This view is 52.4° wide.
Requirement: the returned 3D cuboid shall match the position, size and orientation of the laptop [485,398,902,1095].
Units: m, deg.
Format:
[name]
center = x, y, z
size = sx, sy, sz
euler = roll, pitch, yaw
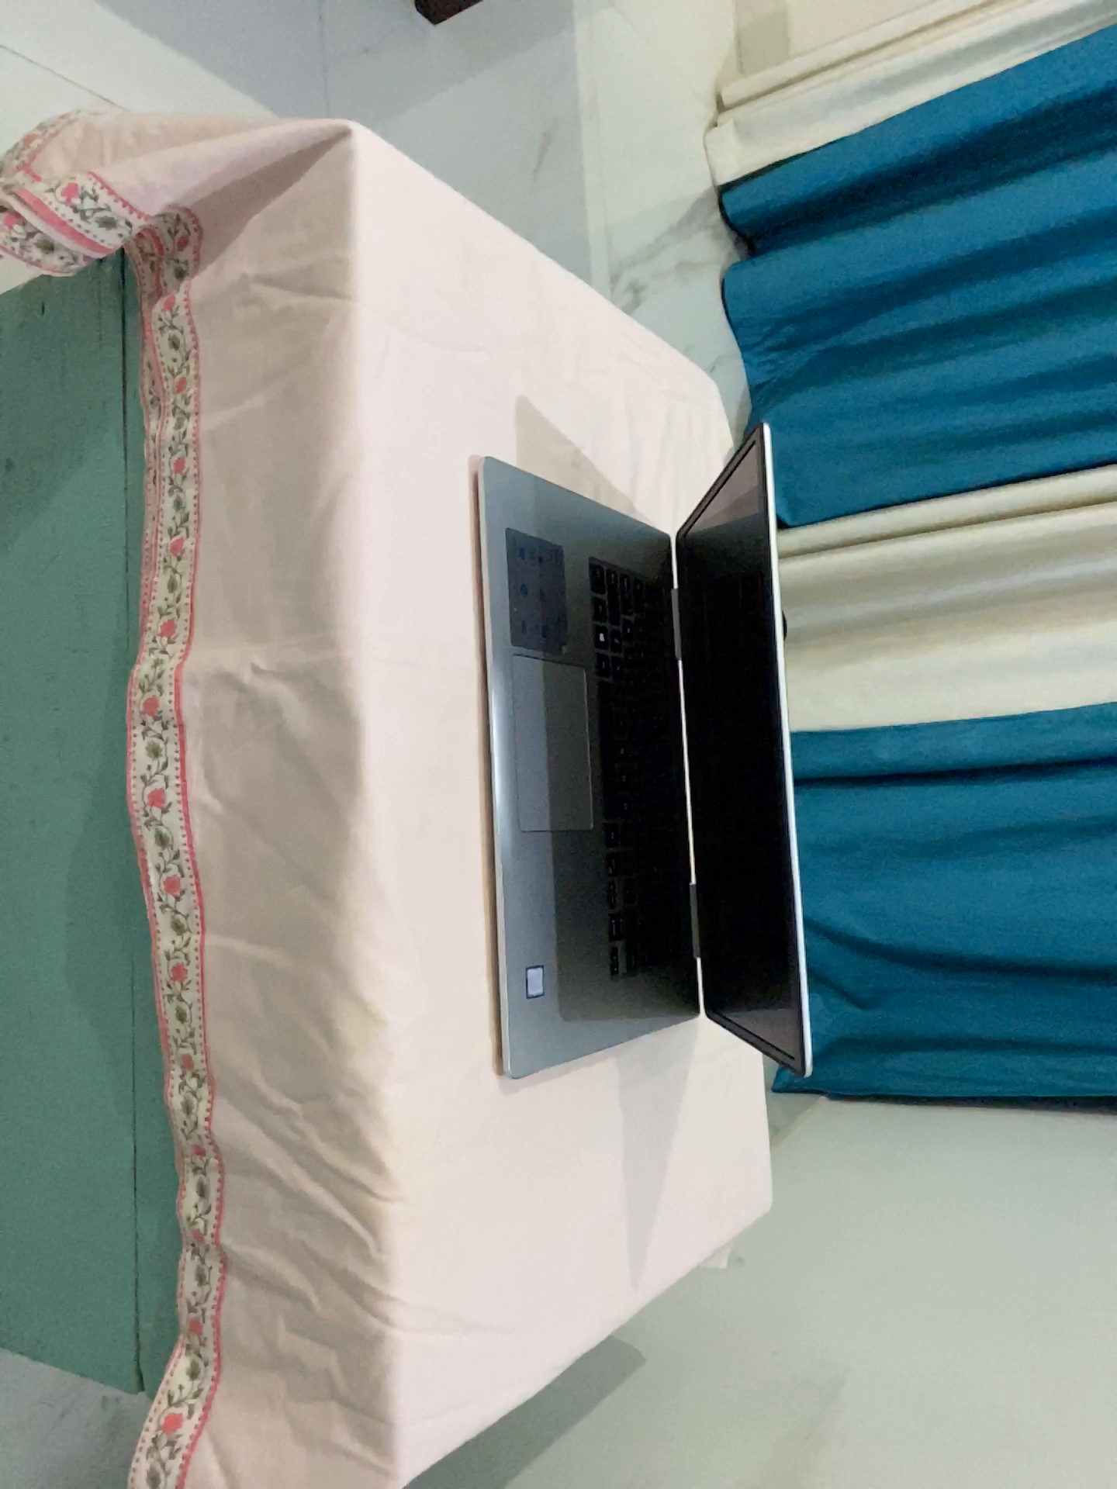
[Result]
[laptop]
center = 0.092, 0.009, 0.702
size = 0.236, 0.148, 0.347
euler = 4, 82, -57
